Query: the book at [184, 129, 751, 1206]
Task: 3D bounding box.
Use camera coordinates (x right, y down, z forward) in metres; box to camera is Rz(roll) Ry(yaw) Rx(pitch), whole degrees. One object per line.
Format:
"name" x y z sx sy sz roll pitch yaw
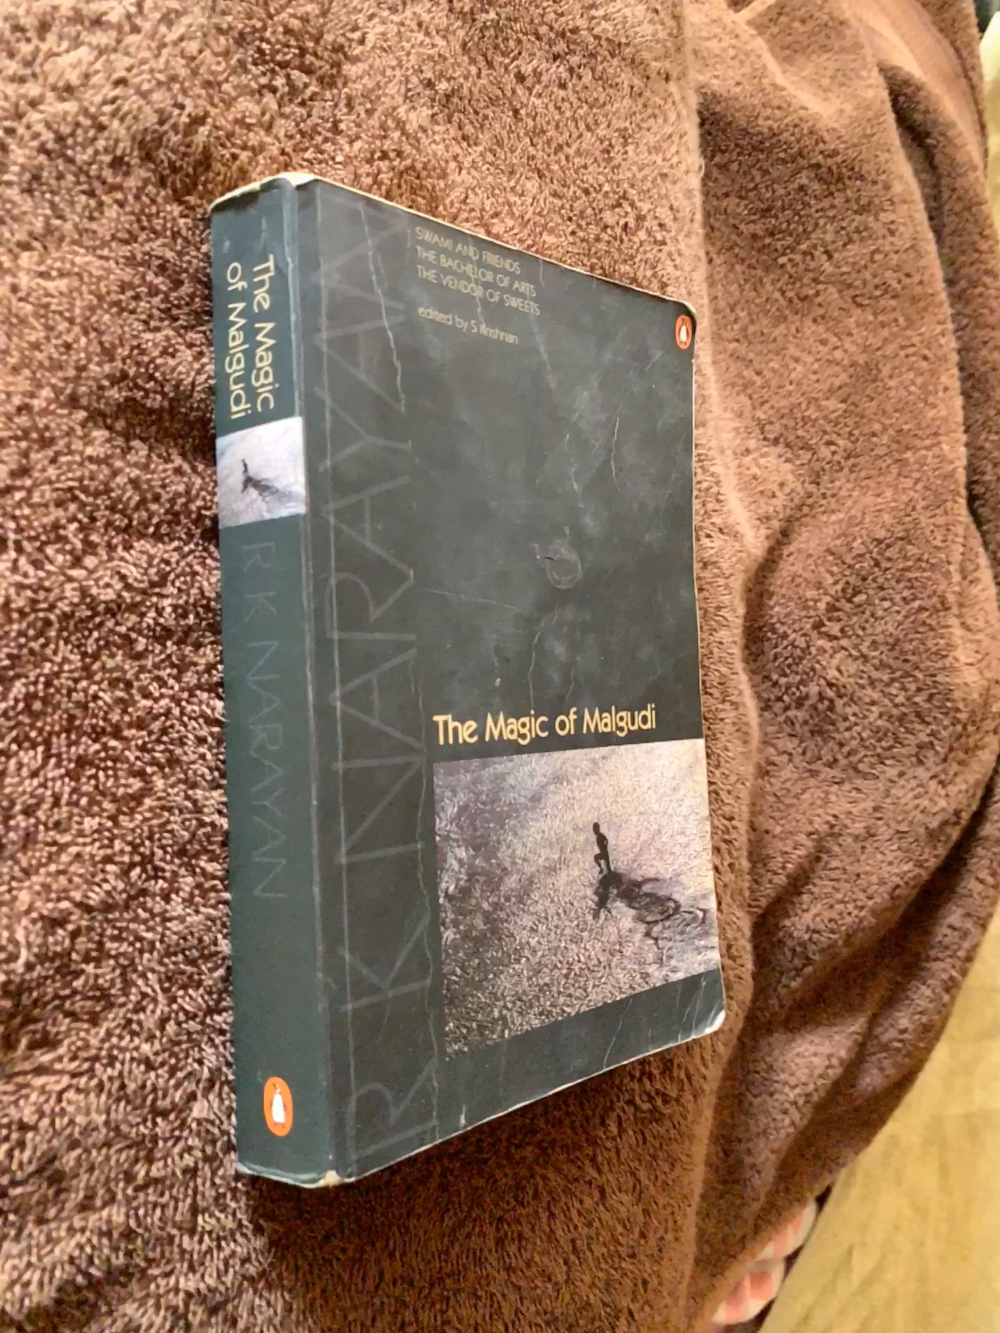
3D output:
"book" 0.002 -0.002 0.245 0.142 0.030 0.193 0 87 -44
